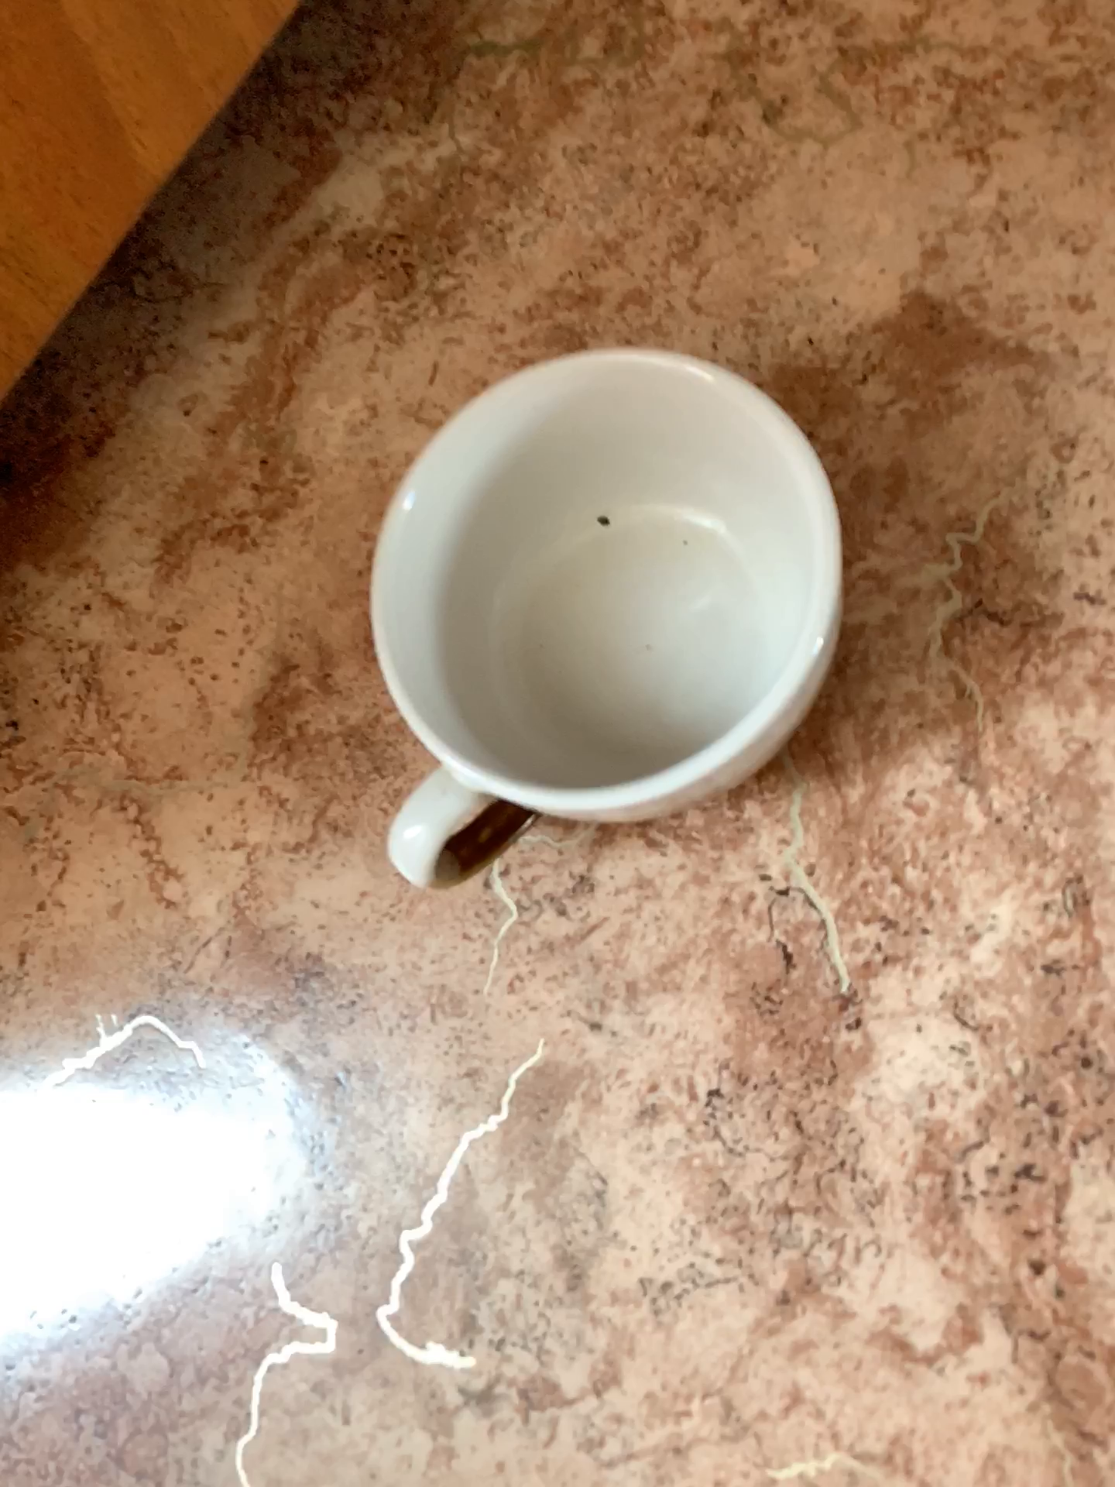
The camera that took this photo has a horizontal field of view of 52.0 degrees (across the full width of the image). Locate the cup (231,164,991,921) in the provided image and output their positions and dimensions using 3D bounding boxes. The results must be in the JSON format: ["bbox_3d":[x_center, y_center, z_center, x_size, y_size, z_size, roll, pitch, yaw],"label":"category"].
[{"bbox_3d":[0.012,-0.037,0.241,0.090,0.060,0.115,43,91,18],"label":"cup"}]
